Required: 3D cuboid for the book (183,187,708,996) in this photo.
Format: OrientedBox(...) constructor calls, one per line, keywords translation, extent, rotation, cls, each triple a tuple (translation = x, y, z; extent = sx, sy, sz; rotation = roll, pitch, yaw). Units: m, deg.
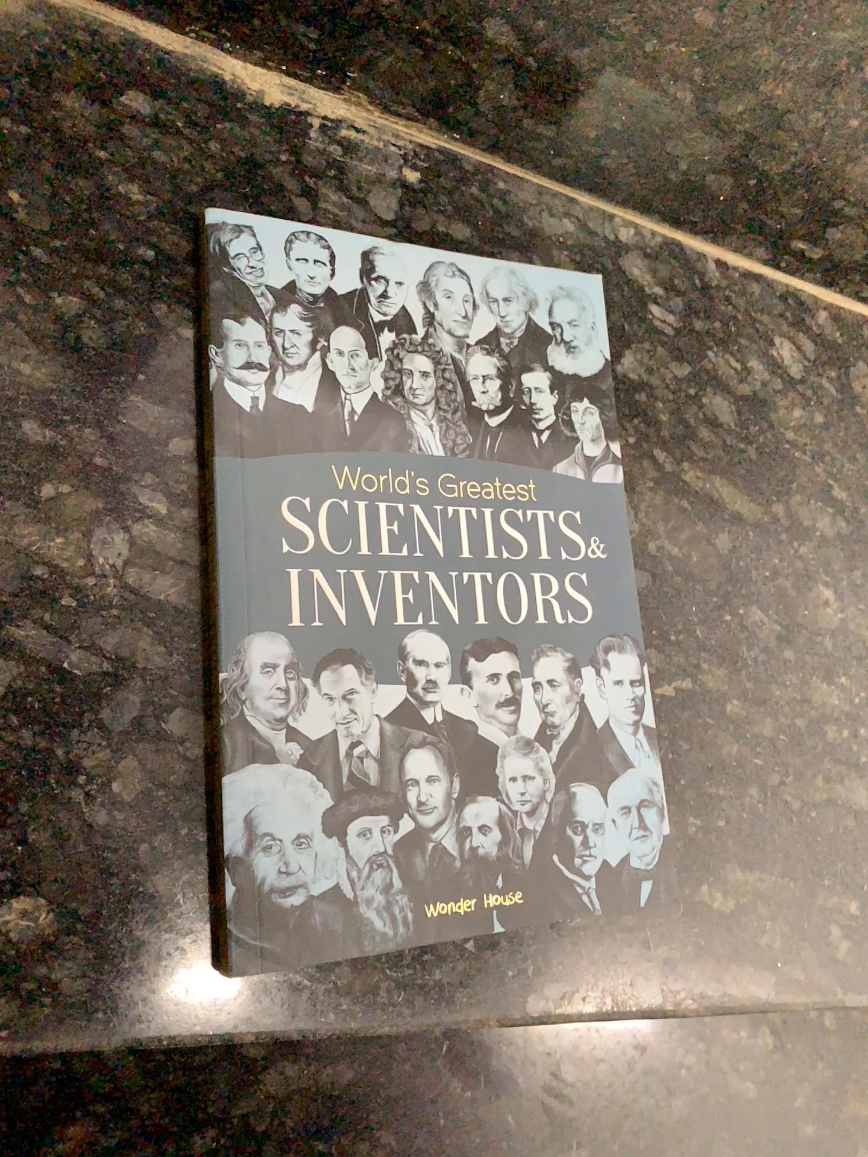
OrientedBox(translation=(0.004, -0.003, 0.258), extent=(0.140, 0.020, 0.200), rotation=(1, 77, -27), cls="book")
